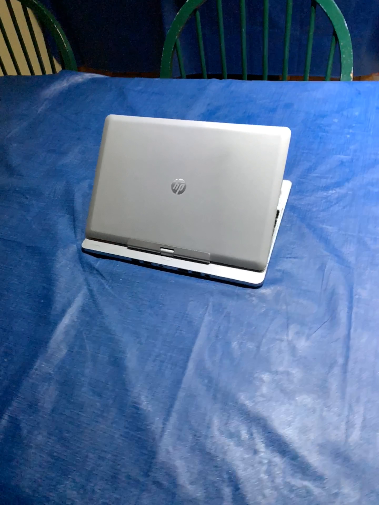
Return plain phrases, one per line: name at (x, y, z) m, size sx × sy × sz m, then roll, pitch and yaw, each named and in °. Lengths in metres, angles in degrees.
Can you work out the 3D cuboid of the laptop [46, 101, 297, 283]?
laptop at (-0.011, -0.101, 0.565) m, size 0.279 × 0.122 × 0.208 m, roll 11°, pitch 53°, yaw 19°
